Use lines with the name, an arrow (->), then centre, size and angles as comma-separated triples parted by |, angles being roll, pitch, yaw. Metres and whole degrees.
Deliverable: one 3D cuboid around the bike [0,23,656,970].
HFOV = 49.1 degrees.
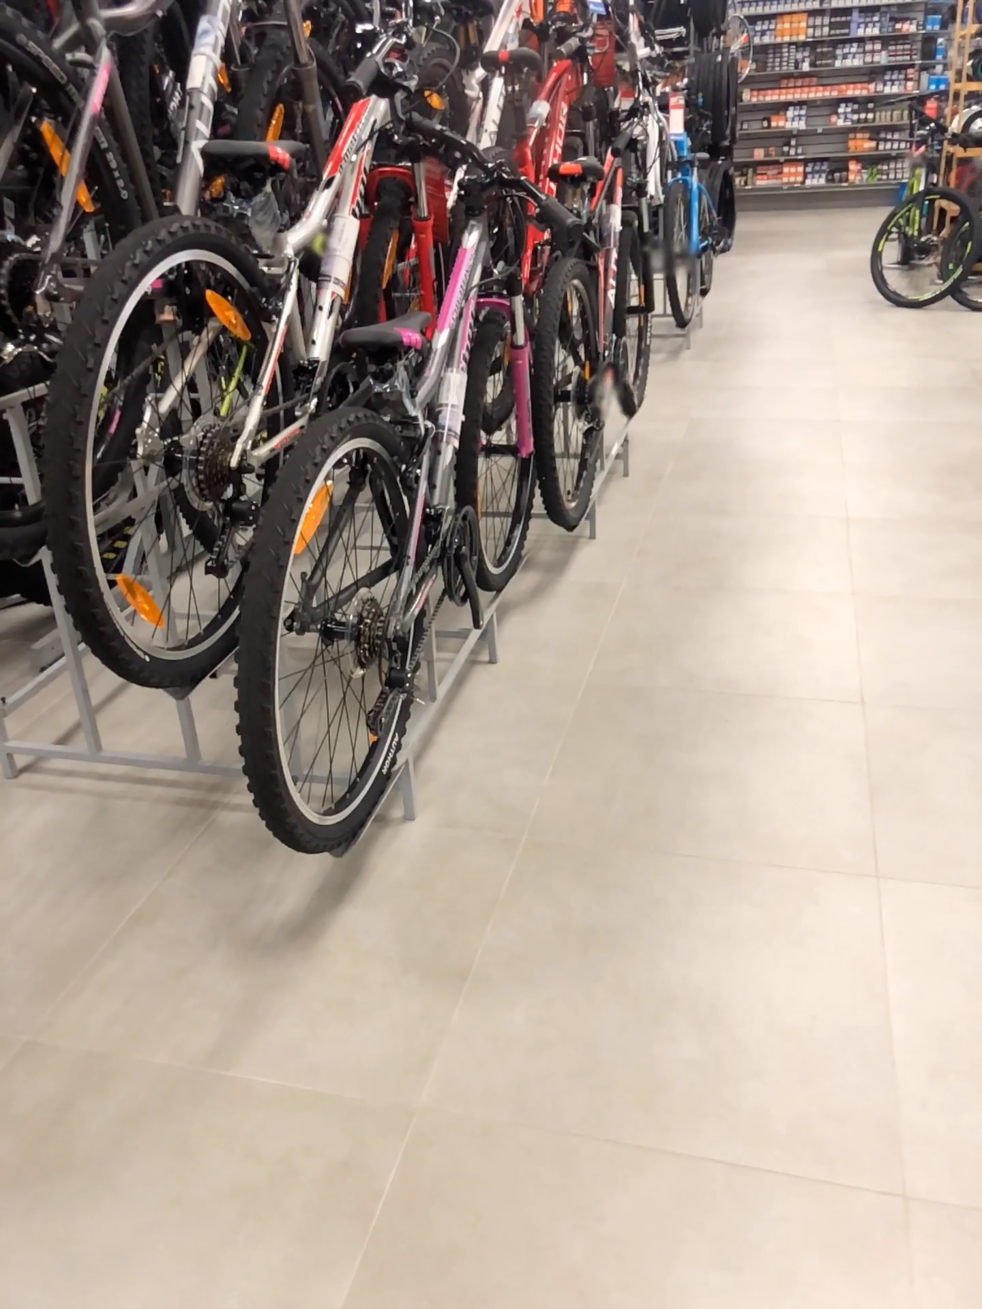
bike -> -0.101, -0.496, 1.894 | 0.598, 0.990, 1.615 | 4, 30, 14
